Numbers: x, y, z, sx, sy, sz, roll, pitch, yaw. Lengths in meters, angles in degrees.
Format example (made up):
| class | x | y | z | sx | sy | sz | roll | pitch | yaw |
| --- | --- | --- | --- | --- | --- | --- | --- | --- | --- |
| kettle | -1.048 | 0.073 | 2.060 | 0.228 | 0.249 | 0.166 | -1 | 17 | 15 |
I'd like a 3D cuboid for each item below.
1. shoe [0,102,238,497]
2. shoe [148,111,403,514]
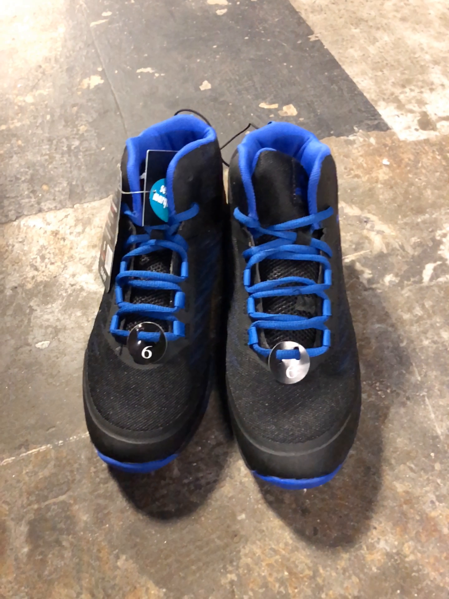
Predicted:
| class | x | y | z | sx | sy | sz | roll | pitch | yaw |
| --- | --- | --- | --- | --- | --- | --- | --- | --- | --- |
| shoe | -0.065 | -0.008 | 0.323 | 0.100 | 0.119 | 0.221 | 4 | 57 | 12 |
| shoe | 0.033 | 0.005 | 0.327 | 0.110 | 0.119 | 0.231 | -2 | 57 | 8 |
